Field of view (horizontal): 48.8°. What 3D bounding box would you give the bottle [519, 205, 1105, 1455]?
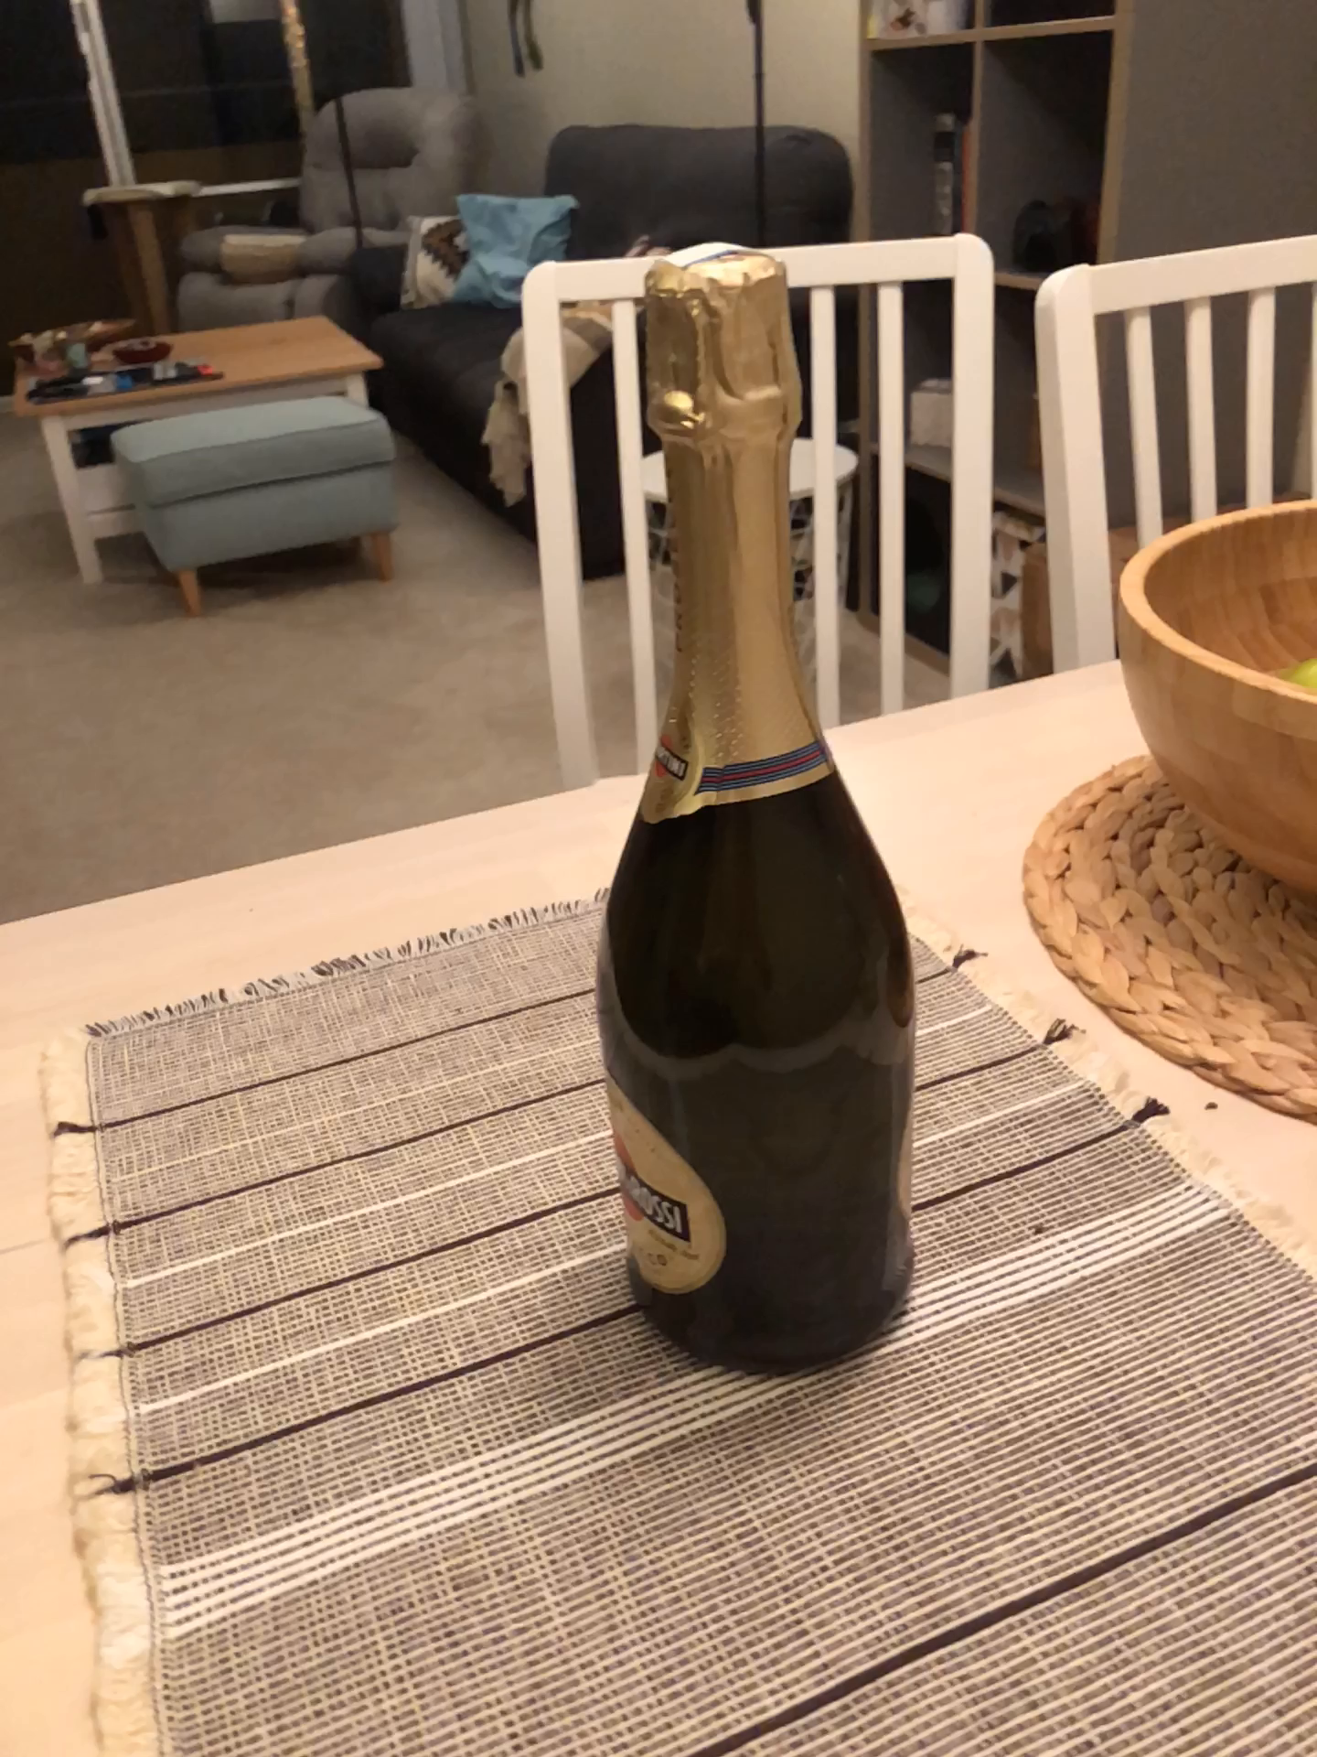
[{"bbox_3d":[0.036,-0.004,0.389,0.100,0.308,0.101,-3,28,2],"label":"bottle"}]
